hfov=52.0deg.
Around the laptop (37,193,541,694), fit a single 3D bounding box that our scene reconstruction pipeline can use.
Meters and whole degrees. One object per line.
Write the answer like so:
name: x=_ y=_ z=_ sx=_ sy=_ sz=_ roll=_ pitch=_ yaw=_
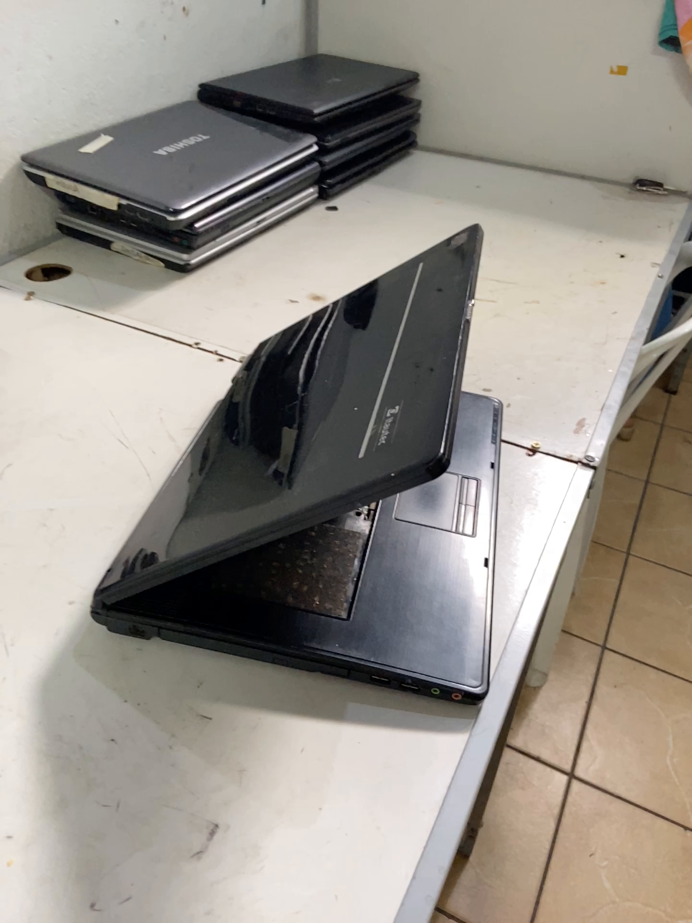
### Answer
laptop: x=-0.001 y=-0.049 z=0.541 sx=0.260 sy=0.164 sz=0.350 roll=10 pitch=38 yaw=7
